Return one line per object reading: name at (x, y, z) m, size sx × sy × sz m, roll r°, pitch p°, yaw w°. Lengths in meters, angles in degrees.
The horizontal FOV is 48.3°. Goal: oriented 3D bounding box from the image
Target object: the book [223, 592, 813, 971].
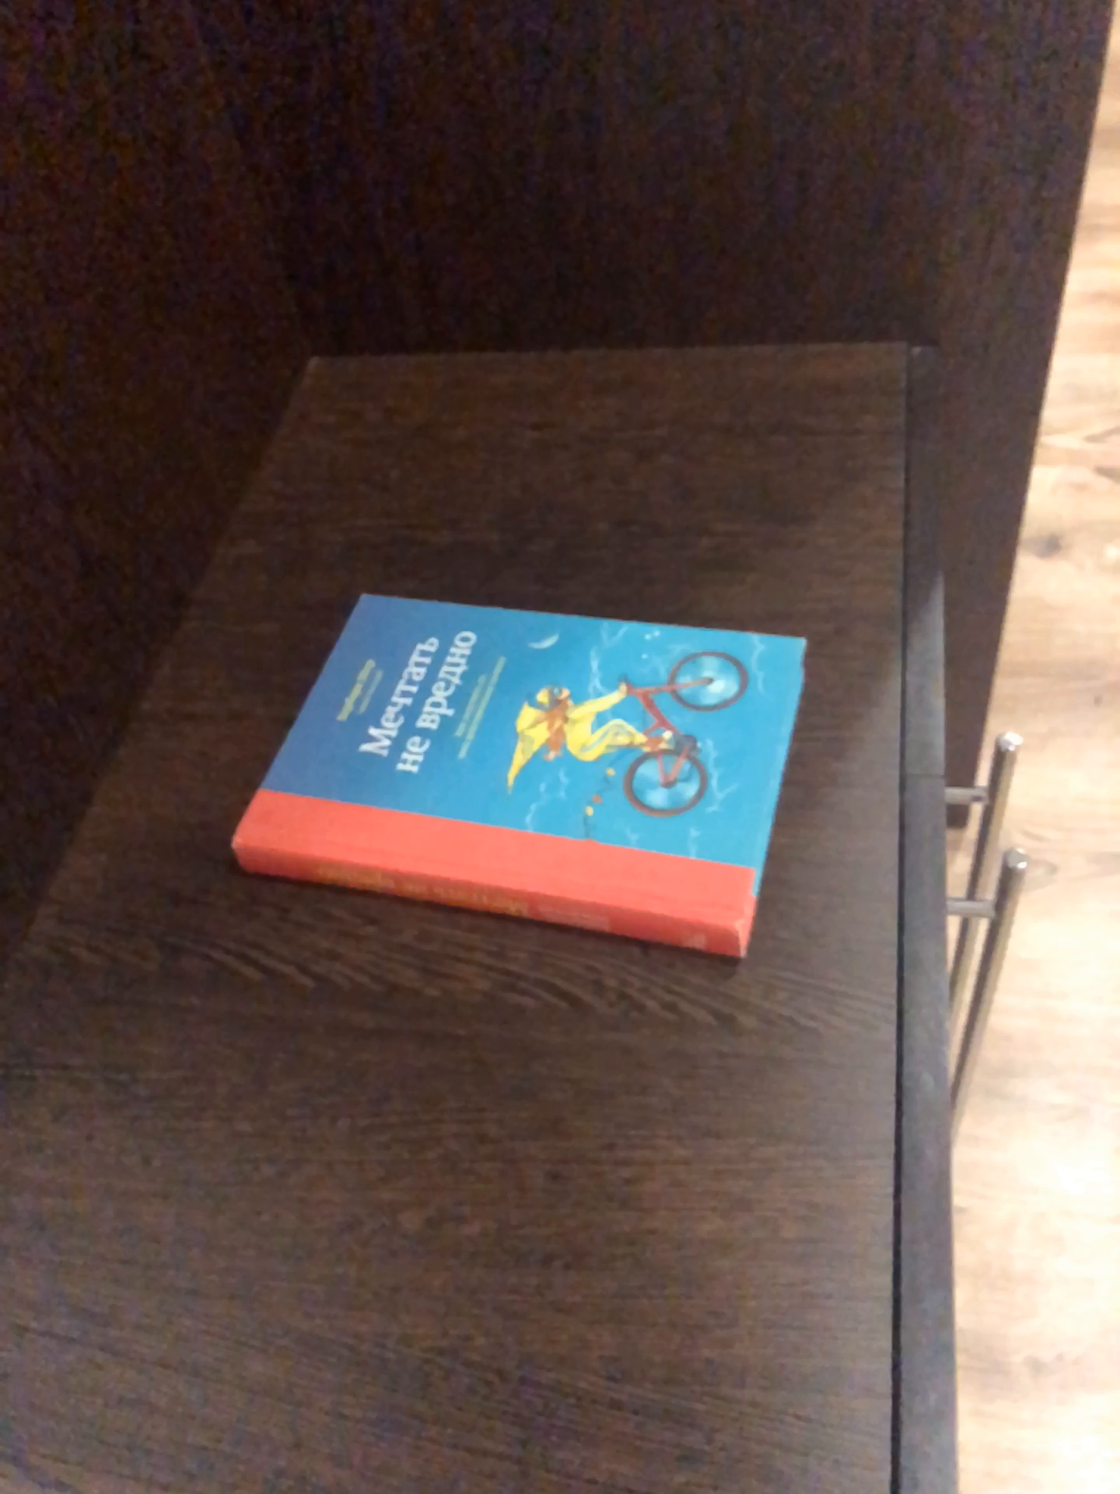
book at (-0.012, 0.005, 0.517) m, size 0.211 × 0.025 × 0.146 m, roll 7°, pitch 53°, yaw 15°
